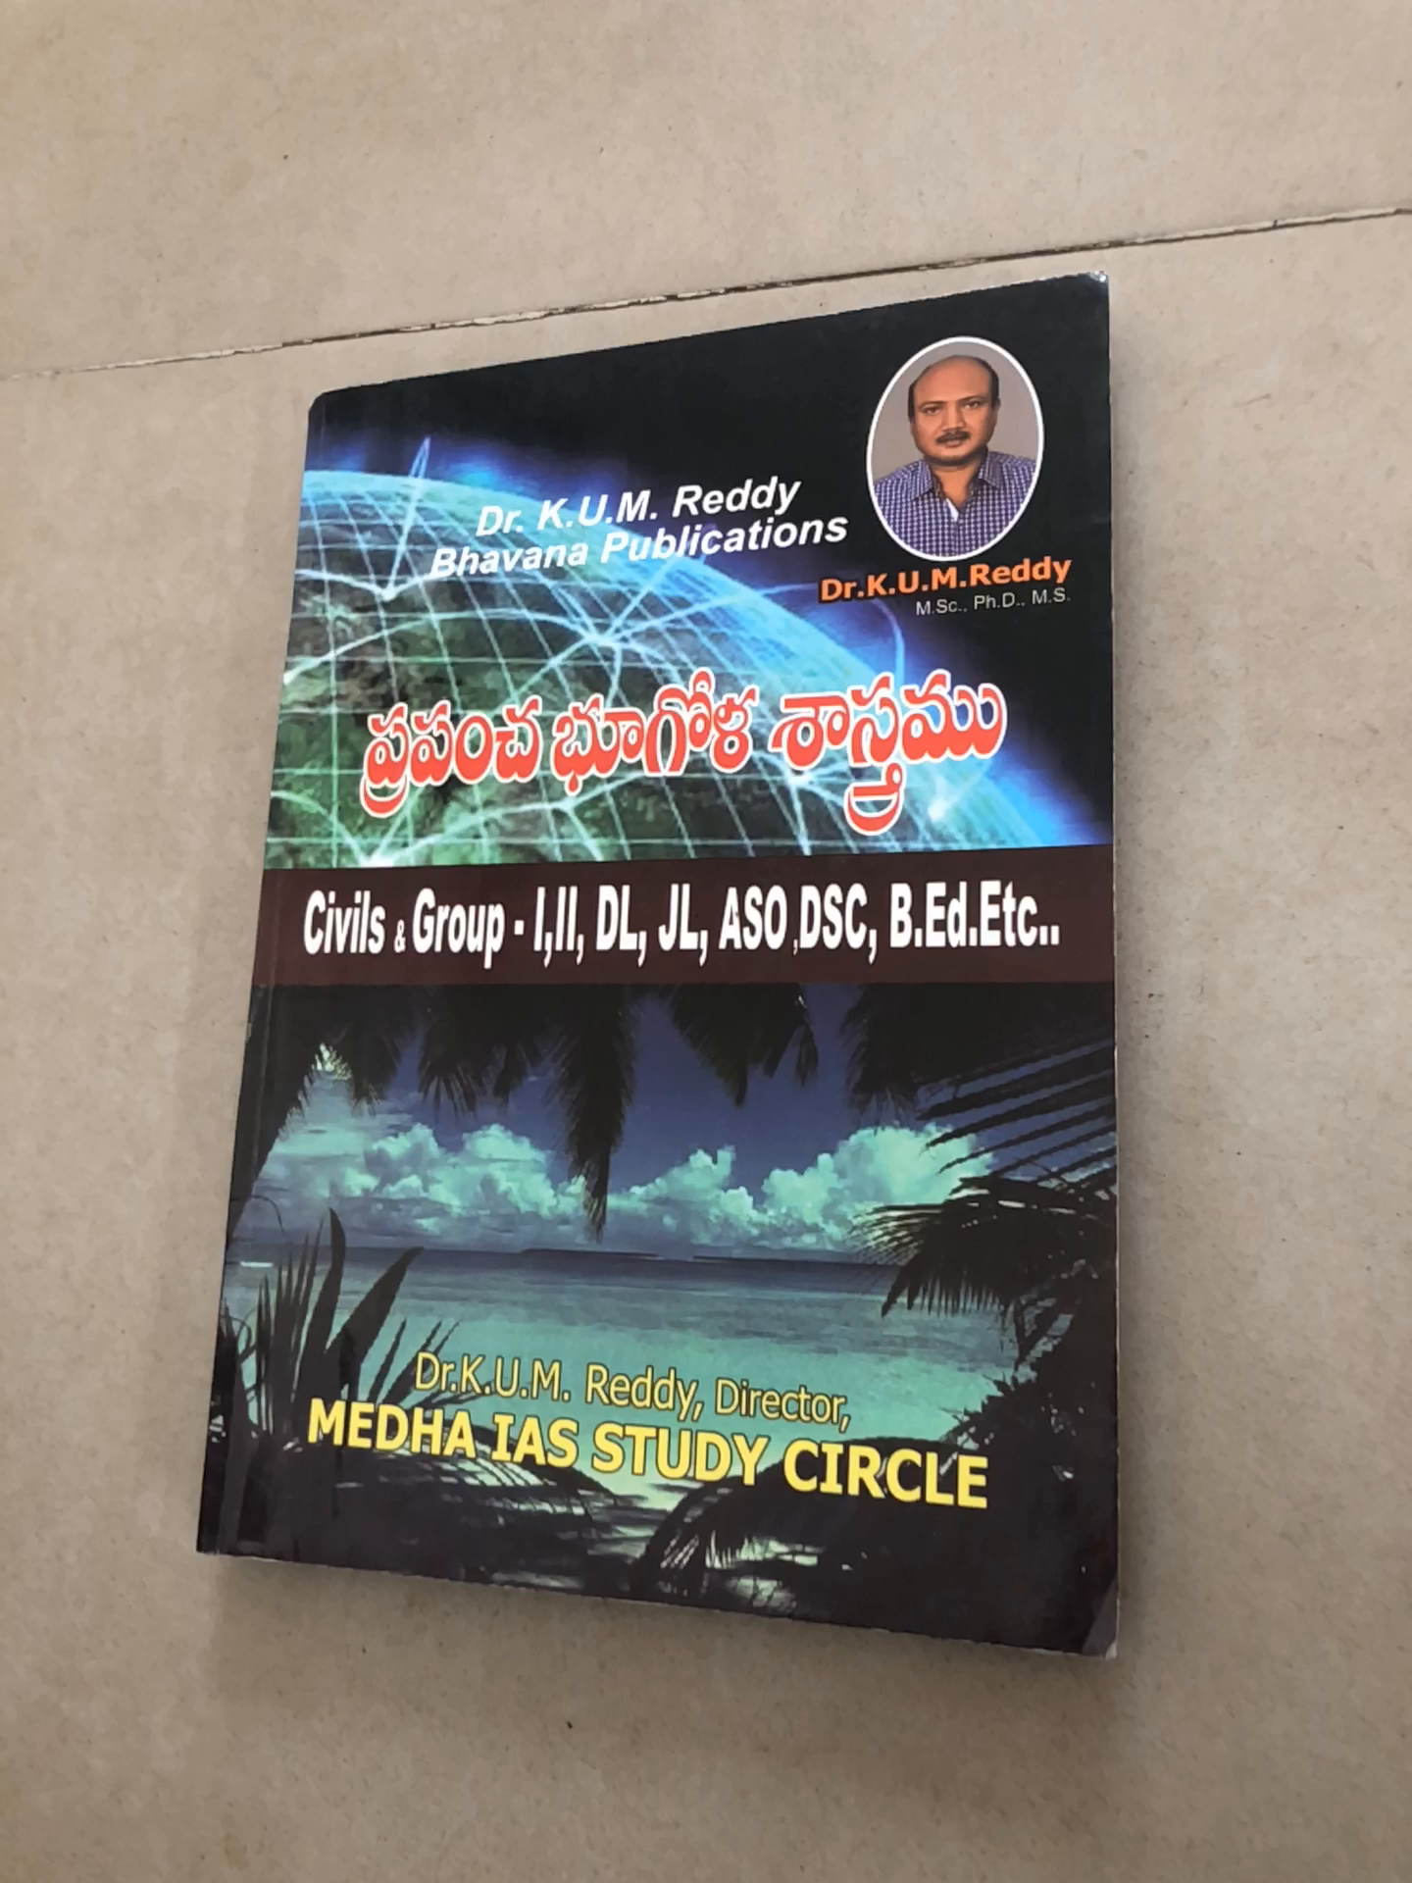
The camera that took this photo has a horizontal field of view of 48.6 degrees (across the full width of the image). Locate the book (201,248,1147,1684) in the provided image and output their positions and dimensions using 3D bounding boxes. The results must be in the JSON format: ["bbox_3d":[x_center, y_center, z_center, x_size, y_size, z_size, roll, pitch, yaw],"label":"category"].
[{"bbox_3d":[-0.006,-0.002,0.321,0.180,0.030,0.260,-1,79,18],"label":"book"}]
